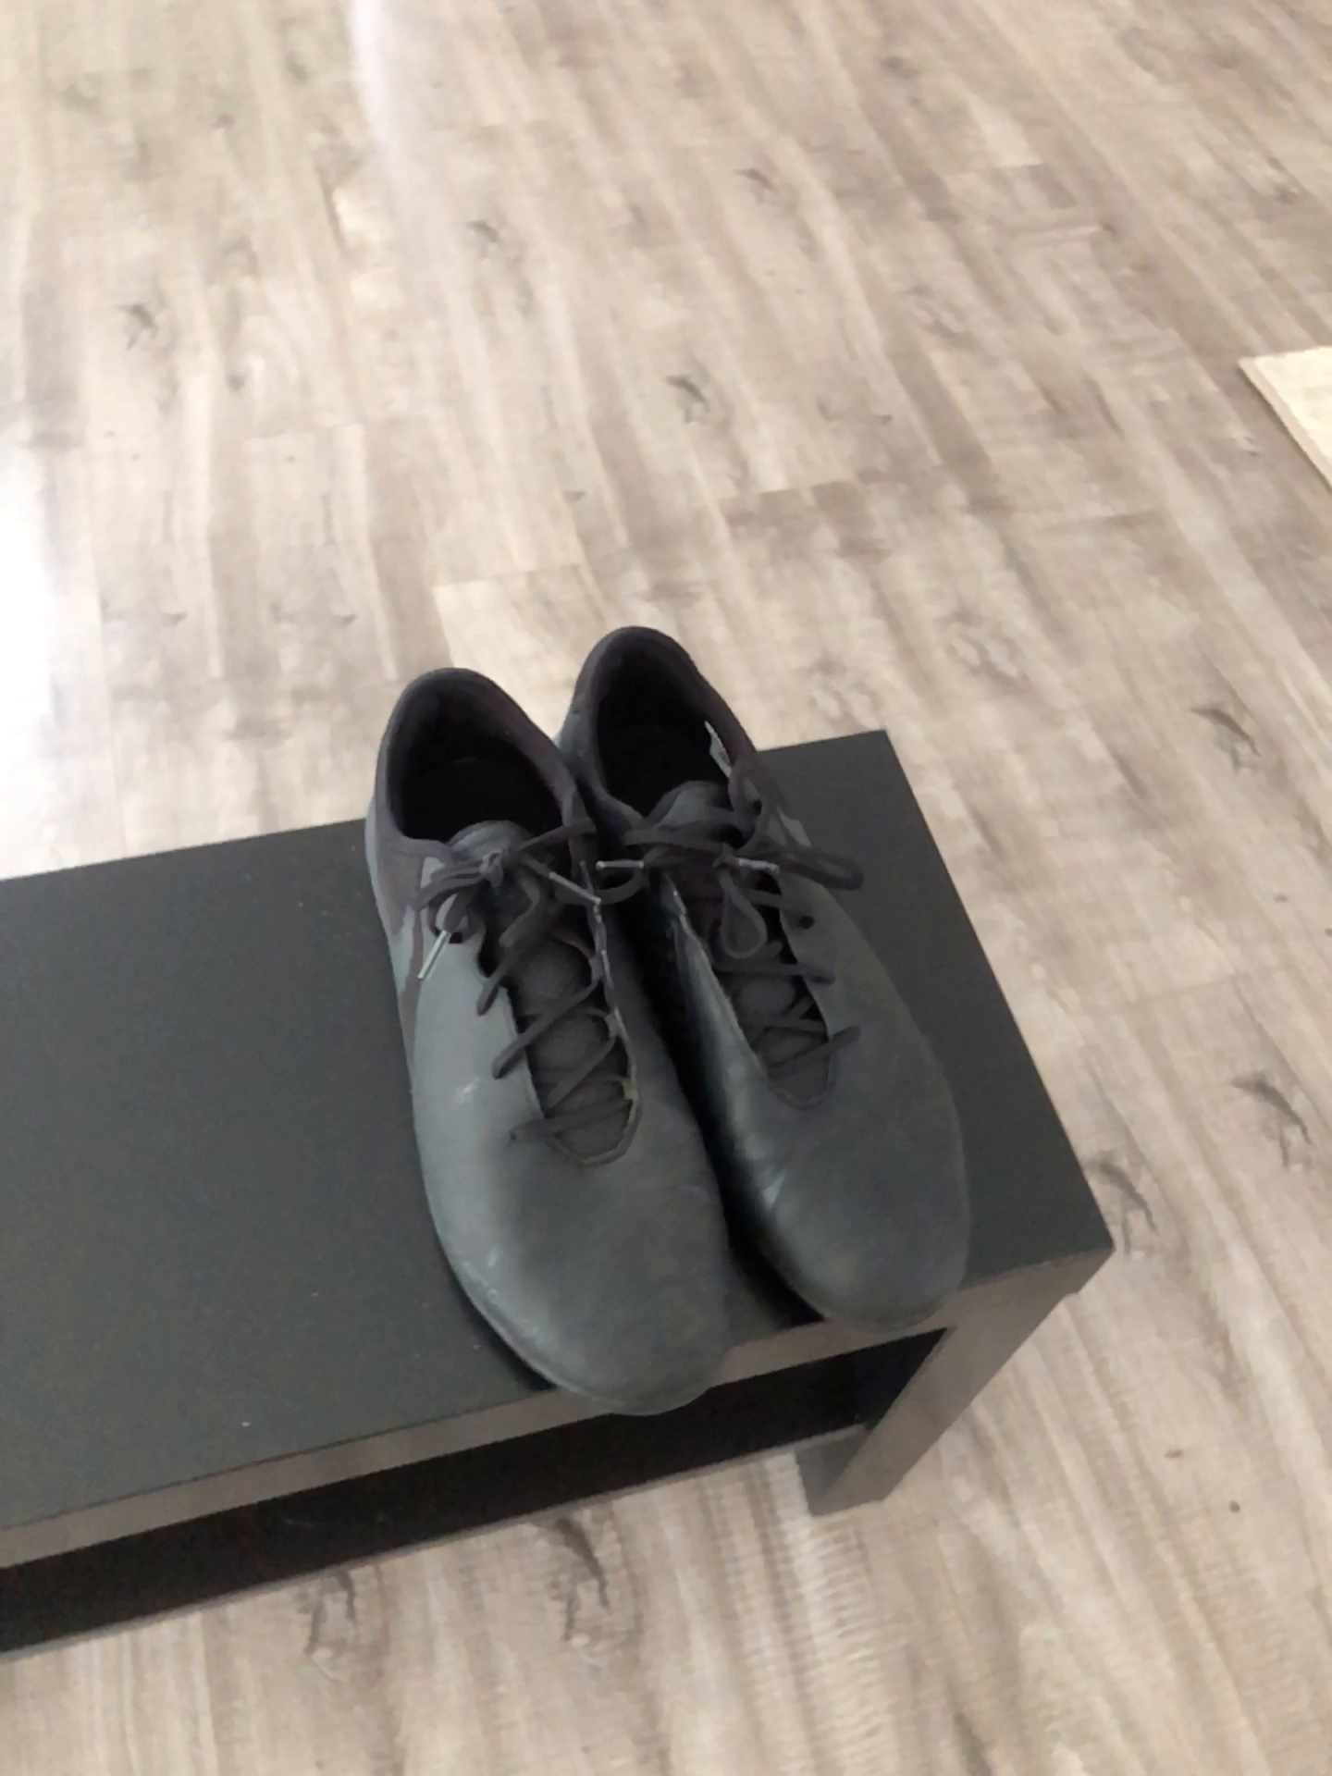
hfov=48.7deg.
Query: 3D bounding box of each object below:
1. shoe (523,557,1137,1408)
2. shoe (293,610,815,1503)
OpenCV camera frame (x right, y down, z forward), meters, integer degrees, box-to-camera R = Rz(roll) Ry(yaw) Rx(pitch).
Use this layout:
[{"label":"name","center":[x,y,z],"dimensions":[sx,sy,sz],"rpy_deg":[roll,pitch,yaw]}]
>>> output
[{"label":"shoe","center":[0.041,0.024,0.559],"dimensions":[0.100,0.110,0.294],"rpy_deg":[-16,58,-15]},{"label":"shoe","center":[-0.053,0.049,0.540],"dimensions":[0.100,0.110,0.294],"rpy_deg":[-13,57,-13]}]
